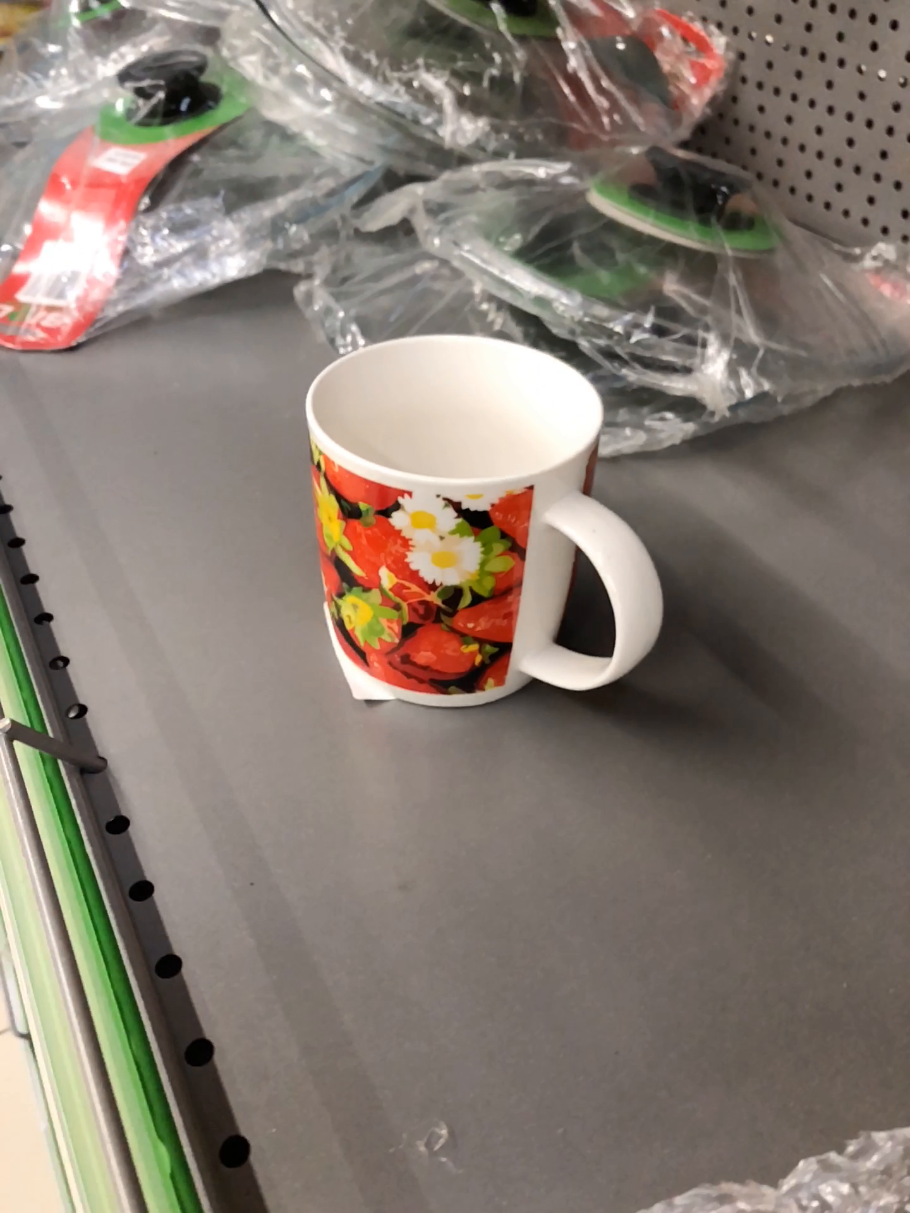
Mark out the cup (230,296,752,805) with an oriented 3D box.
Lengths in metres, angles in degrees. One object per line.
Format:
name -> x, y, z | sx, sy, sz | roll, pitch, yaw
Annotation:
cup -> 0.005, -0.026, 0.313 | 0.090, 0.078, 0.129 | -24, 46, -26
